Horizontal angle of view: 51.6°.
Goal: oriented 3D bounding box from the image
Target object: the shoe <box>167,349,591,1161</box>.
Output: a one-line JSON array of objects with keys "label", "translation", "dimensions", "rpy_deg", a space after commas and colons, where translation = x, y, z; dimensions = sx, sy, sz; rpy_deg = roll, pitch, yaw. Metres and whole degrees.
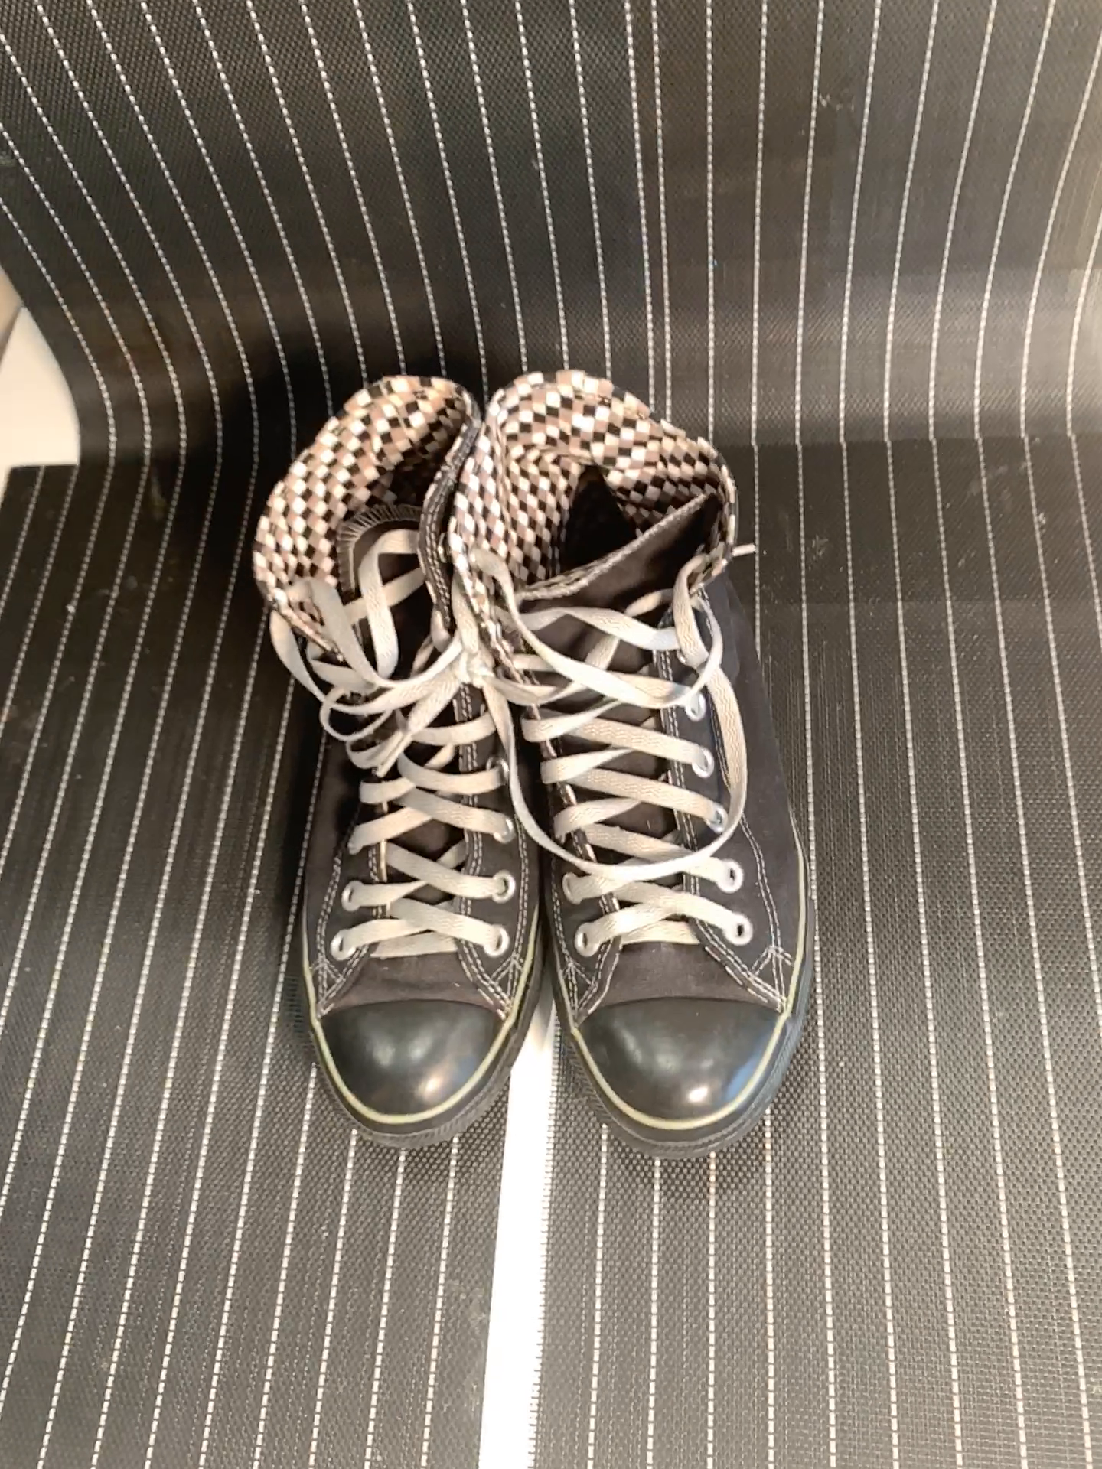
[{"label": "shoe", "translation": [-0.048, 0.010, 0.454], "dimensions": [0.110, 0.130, 0.290], "rpy_deg": [-2, 66, 8]}]

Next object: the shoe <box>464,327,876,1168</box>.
[{"label": "shoe", "translation": [0.037, 0.007, 0.444], "dimensions": [0.110, 0.130, 0.291], "rpy_deg": [-6, 65, 6]}]
